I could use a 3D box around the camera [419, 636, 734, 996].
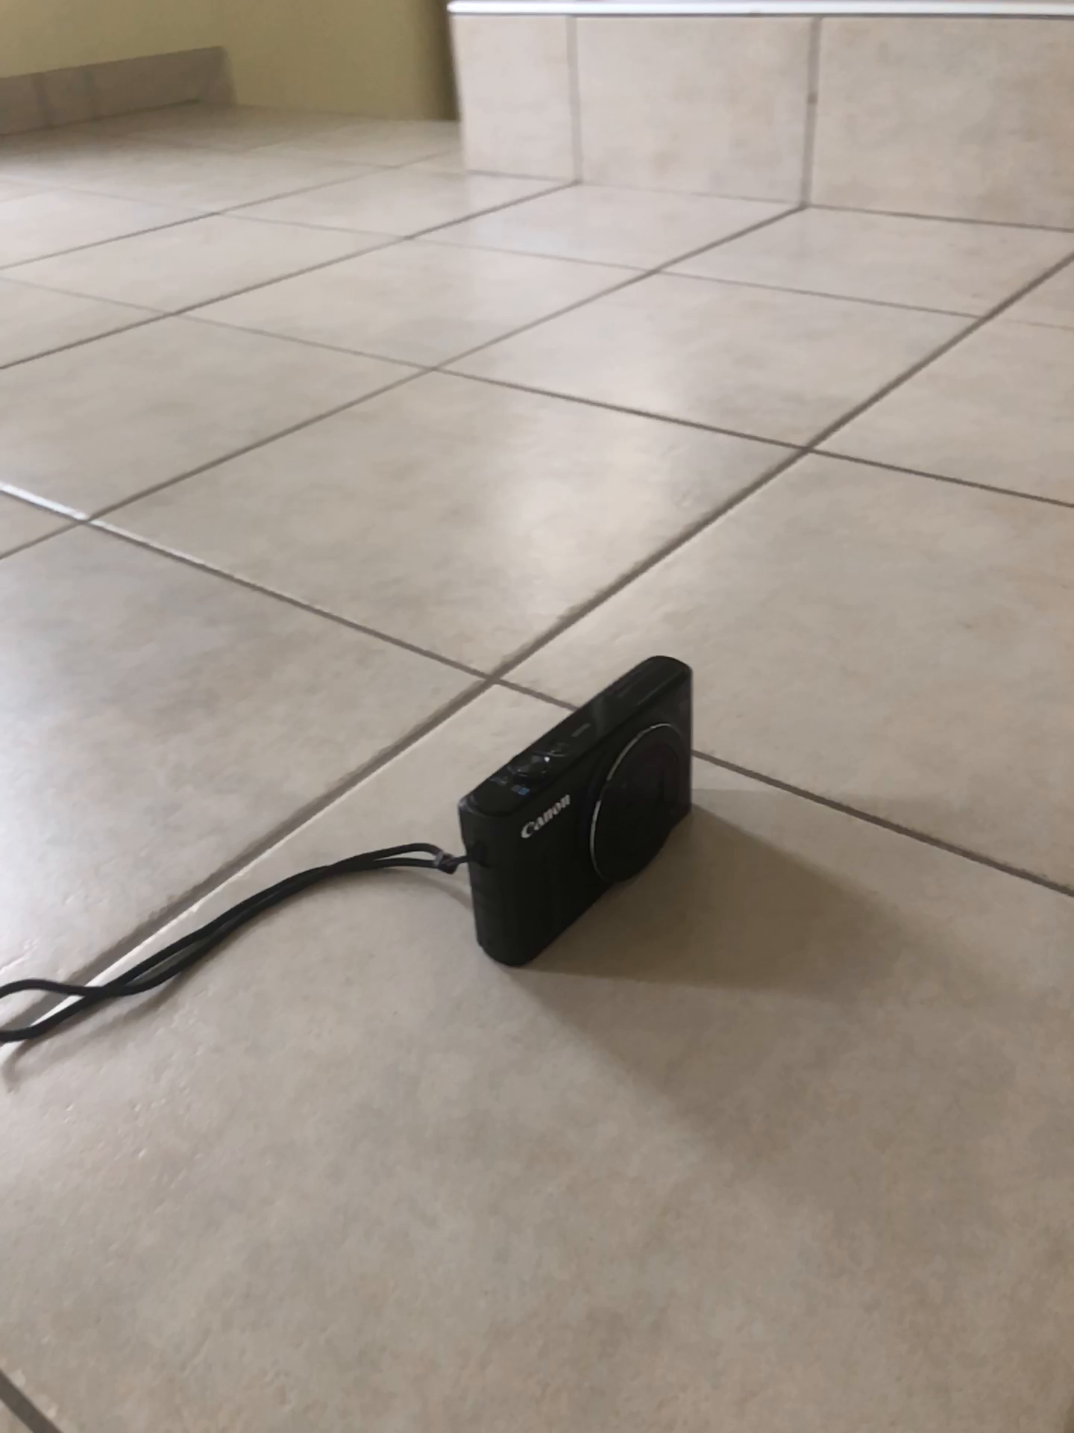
[{"bbox_3d":[0.017,0.028,0.389,0.040,0.060,0.111,23,42,33],"label":"camera"}]
